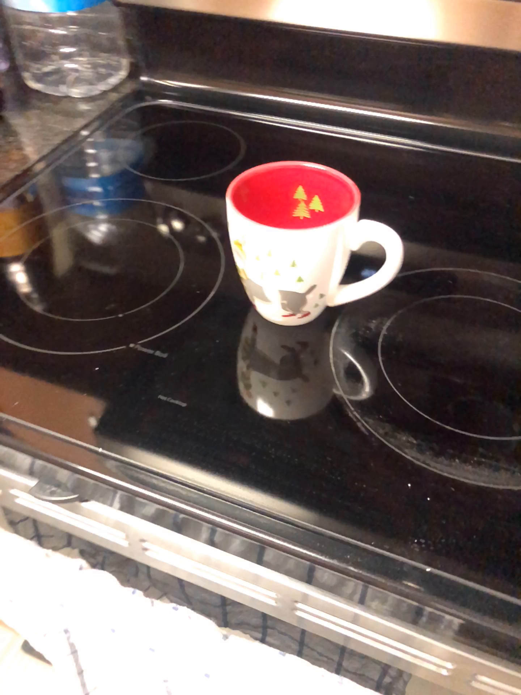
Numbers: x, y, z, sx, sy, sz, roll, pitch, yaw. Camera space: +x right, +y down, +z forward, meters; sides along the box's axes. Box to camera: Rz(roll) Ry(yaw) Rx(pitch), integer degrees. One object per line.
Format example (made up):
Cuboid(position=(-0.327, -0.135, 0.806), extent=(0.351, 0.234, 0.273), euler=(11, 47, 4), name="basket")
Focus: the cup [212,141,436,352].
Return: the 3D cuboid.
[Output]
Cuboid(position=(0.050, -0.082, 0.456), extent=(0.140, 0.100, 0.100), euler=(15, 47, 14), name="cup")
